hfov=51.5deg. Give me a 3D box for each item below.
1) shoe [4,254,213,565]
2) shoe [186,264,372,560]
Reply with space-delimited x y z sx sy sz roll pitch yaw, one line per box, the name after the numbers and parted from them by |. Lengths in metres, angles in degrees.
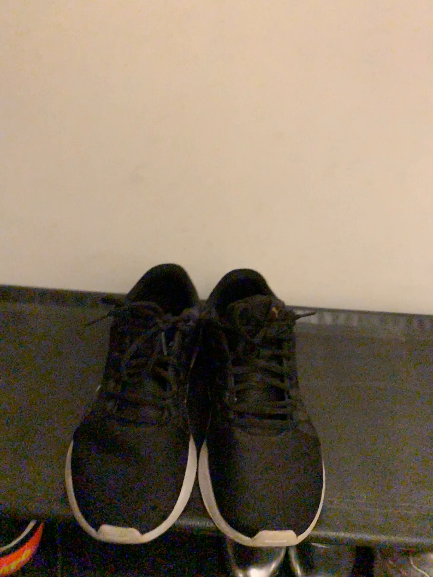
-0.062 0.075 0.371 0.110 0.089 0.242 3 35 -1 | shoe
0.038 0.080 0.396 0.110 0.069 0.262 3 35 -1 | shoe
